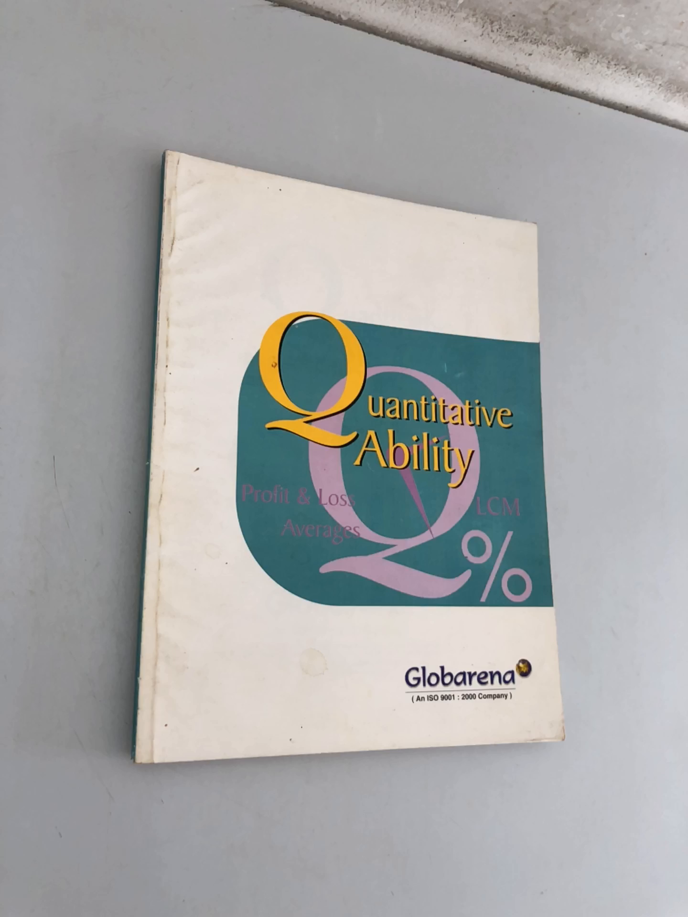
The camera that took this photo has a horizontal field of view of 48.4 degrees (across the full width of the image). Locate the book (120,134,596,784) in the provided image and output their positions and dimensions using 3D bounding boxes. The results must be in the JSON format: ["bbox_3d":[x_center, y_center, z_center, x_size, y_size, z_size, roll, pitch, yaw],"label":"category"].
[{"bbox_3d":[0.013,-0.001,0.319,0.190,0.020,0.240,4,79,-20],"label":"book"}]
